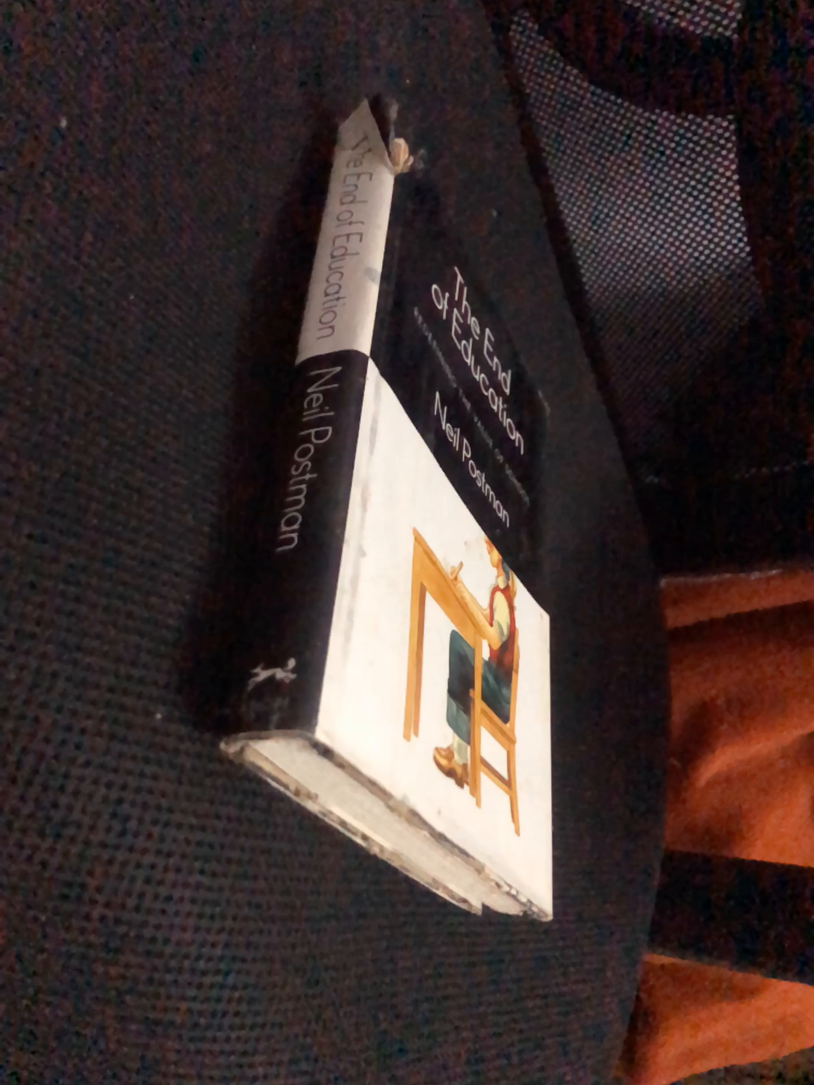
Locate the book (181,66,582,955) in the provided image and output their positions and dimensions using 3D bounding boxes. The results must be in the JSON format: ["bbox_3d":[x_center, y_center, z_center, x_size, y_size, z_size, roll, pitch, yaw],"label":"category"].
[{"bbox_3d":[0.015,-0.011,0.313,0.181,0.030,0.250,52,34,-47],"label":"book"}]
